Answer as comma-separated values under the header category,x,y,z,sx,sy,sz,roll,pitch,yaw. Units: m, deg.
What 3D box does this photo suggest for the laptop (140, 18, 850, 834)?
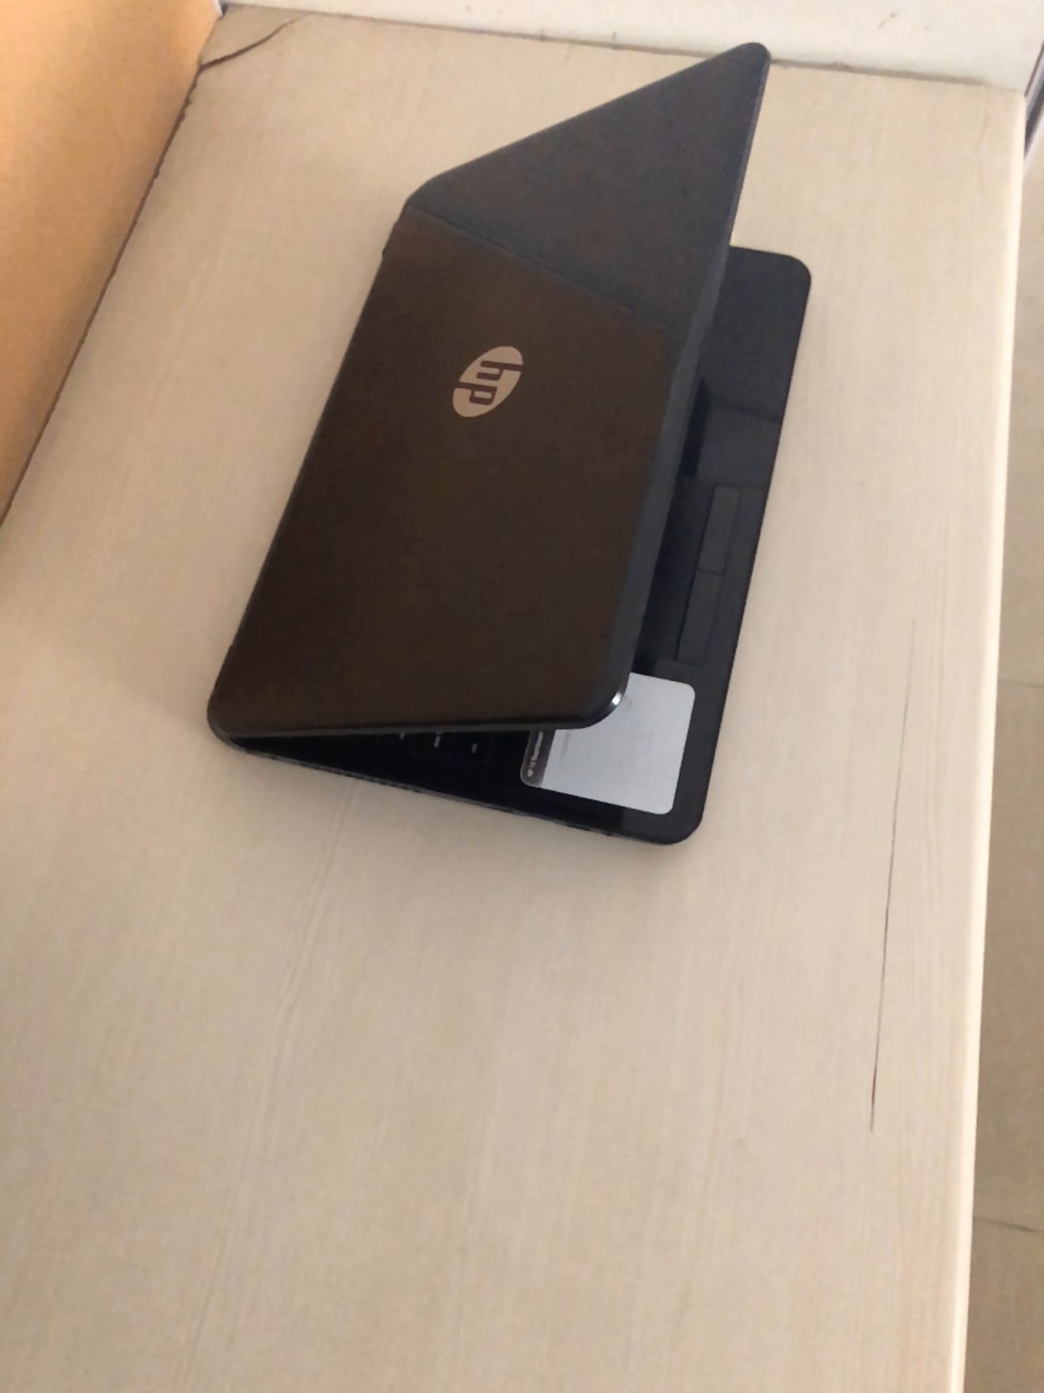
category,x,y,z,sx,sy,sz,roll,pitch,yaw
laptop,0.006,-0.141,0.571,0.223,0.131,0.353,13,68,9
